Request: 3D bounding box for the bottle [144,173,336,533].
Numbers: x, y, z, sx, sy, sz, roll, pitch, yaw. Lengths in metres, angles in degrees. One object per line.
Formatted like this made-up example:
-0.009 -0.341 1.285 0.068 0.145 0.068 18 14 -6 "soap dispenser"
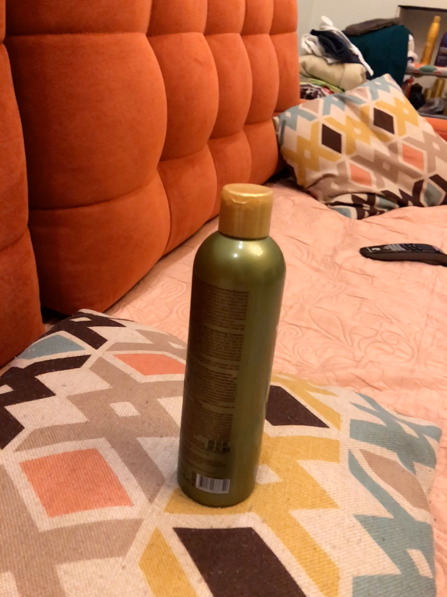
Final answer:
0.003 0.029 0.276 0.070 0.179 0.060 -18 33 -41 "bottle"
